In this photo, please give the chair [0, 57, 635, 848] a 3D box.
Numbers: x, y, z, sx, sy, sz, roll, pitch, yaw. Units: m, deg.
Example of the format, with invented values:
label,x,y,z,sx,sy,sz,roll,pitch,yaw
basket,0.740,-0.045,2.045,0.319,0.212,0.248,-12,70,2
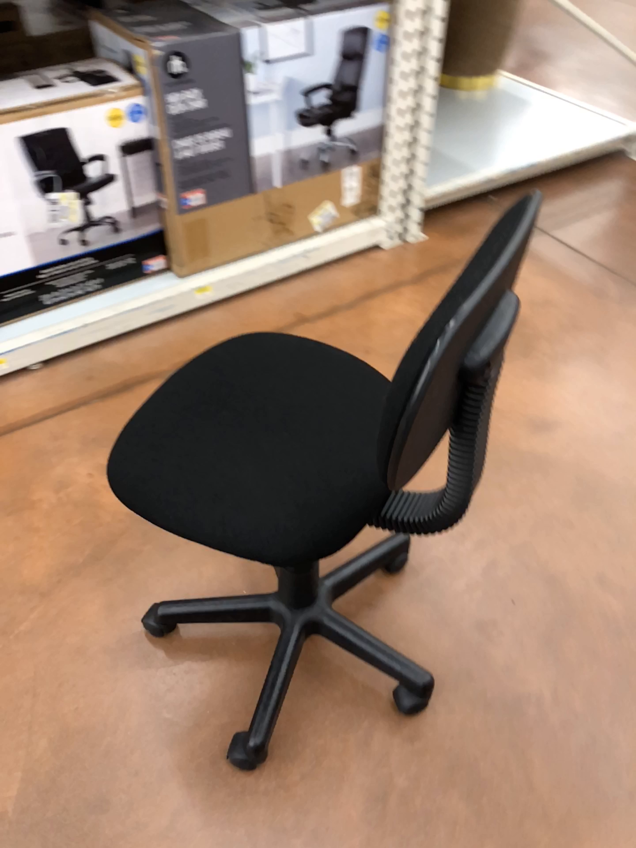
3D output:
label,x,y,z,sx,sy,sz,roll,pitch,yaw
chair,-0.068,0.046,1.003,0.661,0.797,0.672,19,46,19
